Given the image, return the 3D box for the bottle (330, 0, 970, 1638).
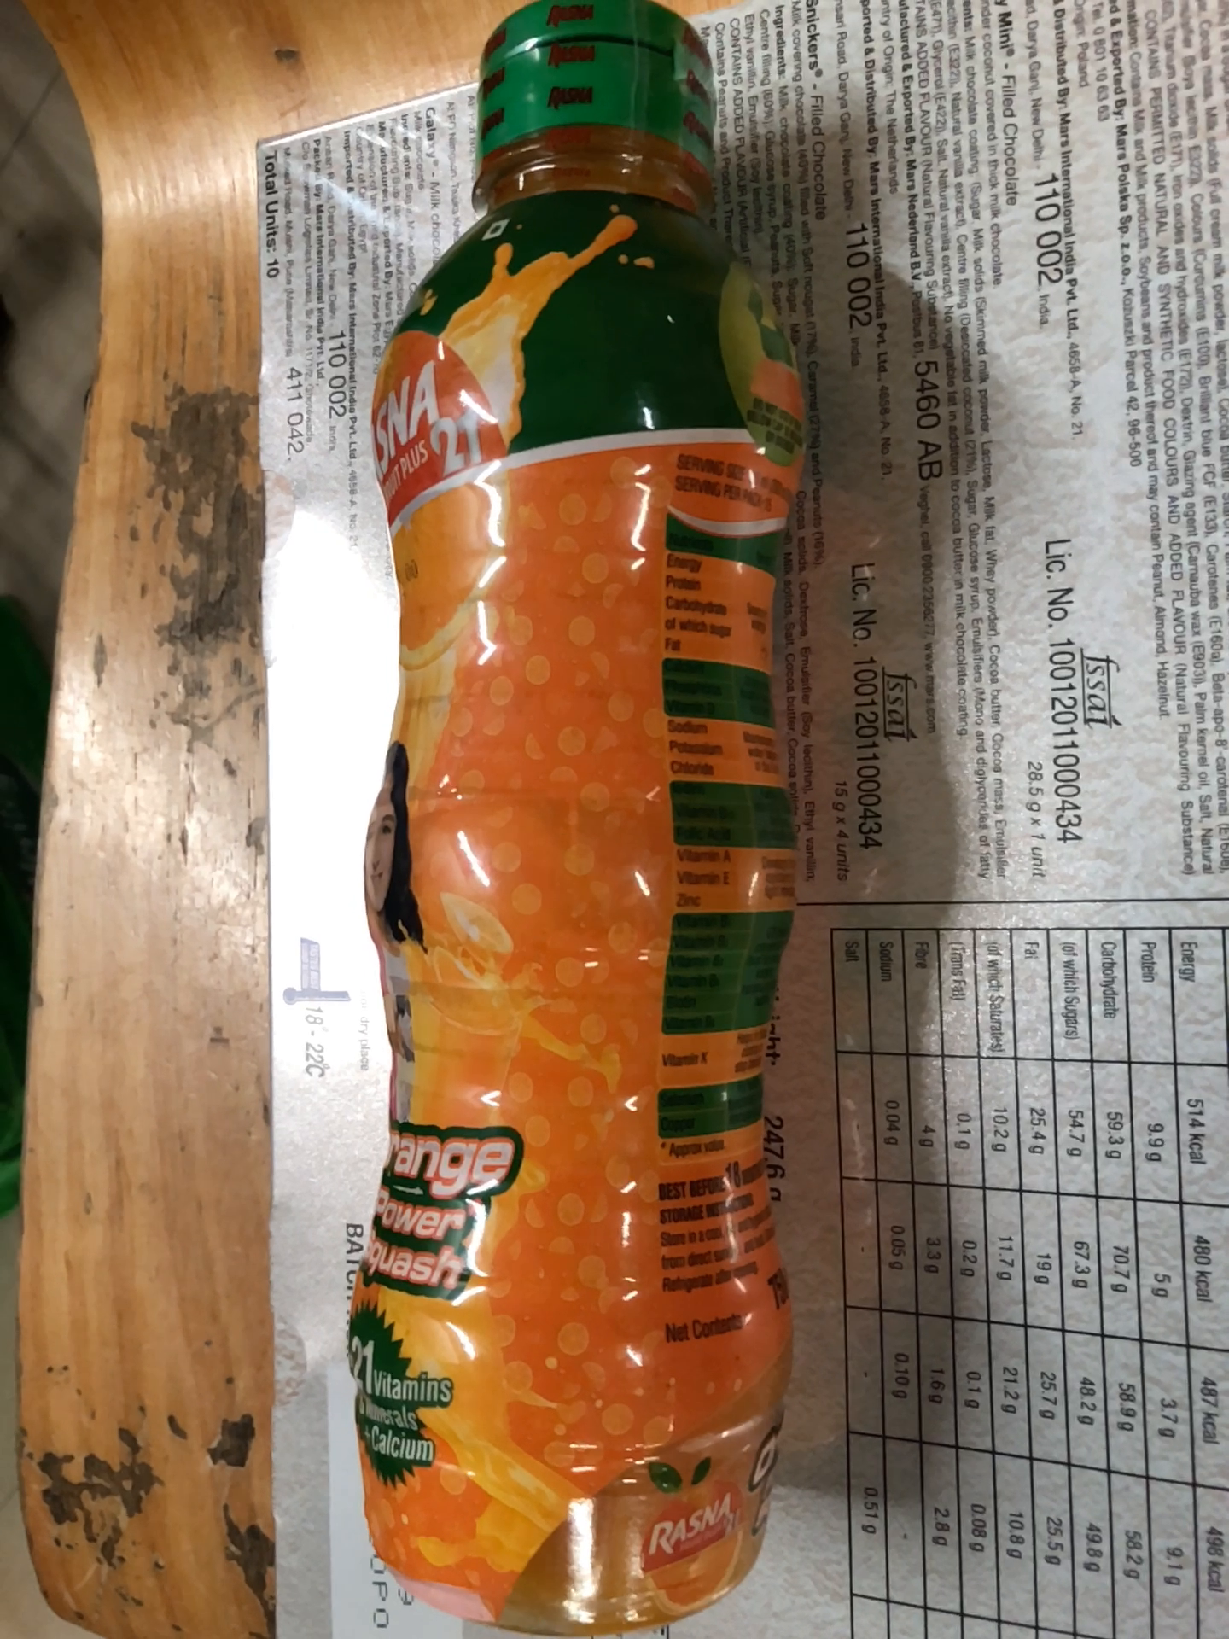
[{"bbox_3d":[0.000,-0.009,0.218,0.080,0.070,0.250,2,90,-12],"label":"bottle"}]
